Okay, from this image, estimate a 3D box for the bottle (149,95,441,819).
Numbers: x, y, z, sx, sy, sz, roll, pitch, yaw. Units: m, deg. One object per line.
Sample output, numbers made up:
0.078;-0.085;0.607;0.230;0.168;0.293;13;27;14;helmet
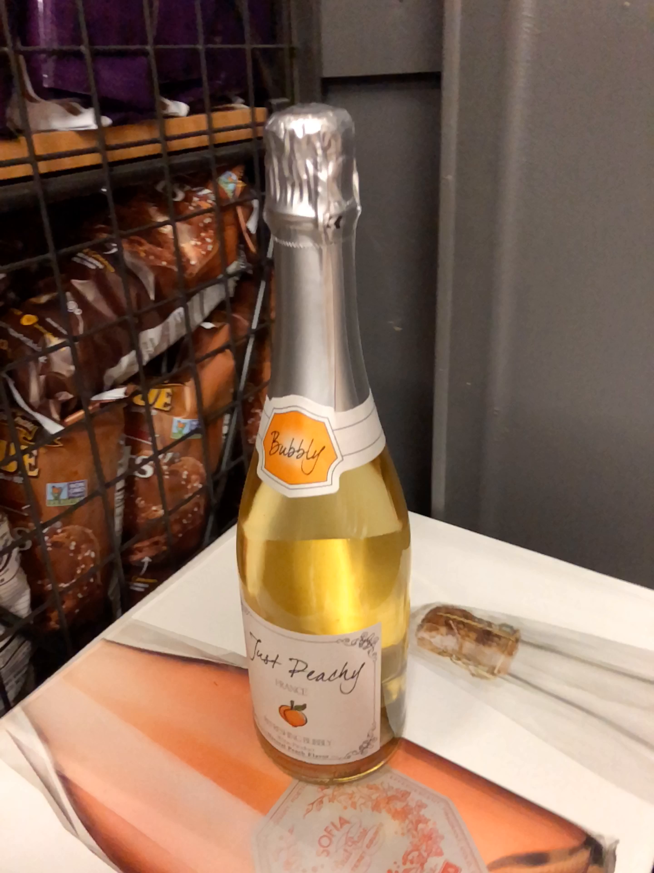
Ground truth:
0.000;0.021;0.335;0.078;0.319;0.087;8;28;21;bottle
